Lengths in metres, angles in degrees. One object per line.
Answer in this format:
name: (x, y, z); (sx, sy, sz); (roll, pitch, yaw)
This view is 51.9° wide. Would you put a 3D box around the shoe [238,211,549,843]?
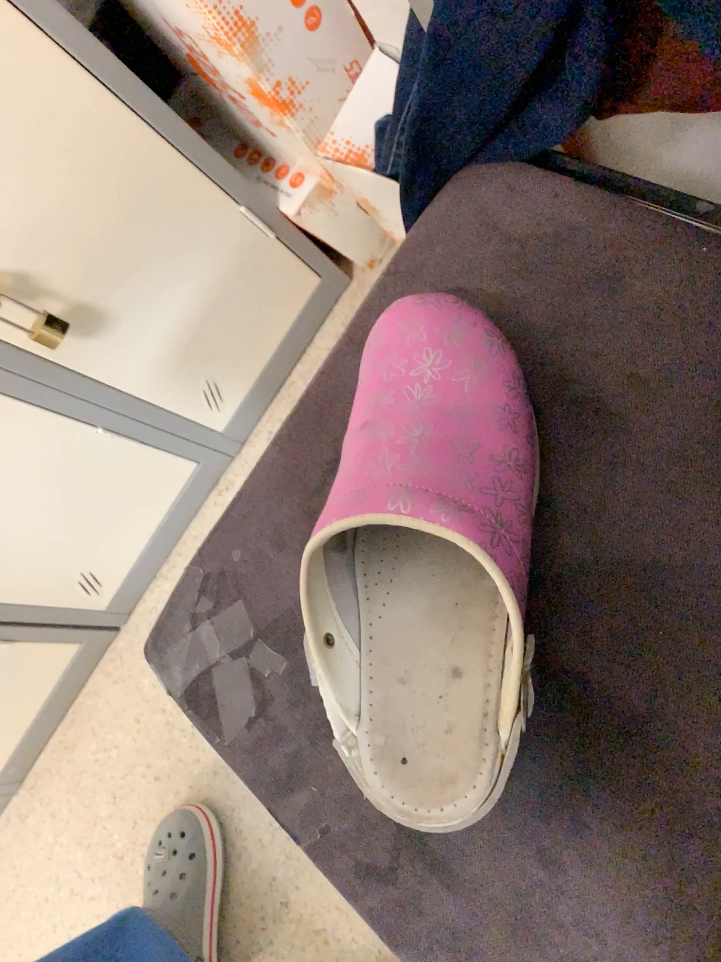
shoe: (0.018, 0.018, 0.324); (0.100, 0.080, 0.230); (-6, 75, 27)
